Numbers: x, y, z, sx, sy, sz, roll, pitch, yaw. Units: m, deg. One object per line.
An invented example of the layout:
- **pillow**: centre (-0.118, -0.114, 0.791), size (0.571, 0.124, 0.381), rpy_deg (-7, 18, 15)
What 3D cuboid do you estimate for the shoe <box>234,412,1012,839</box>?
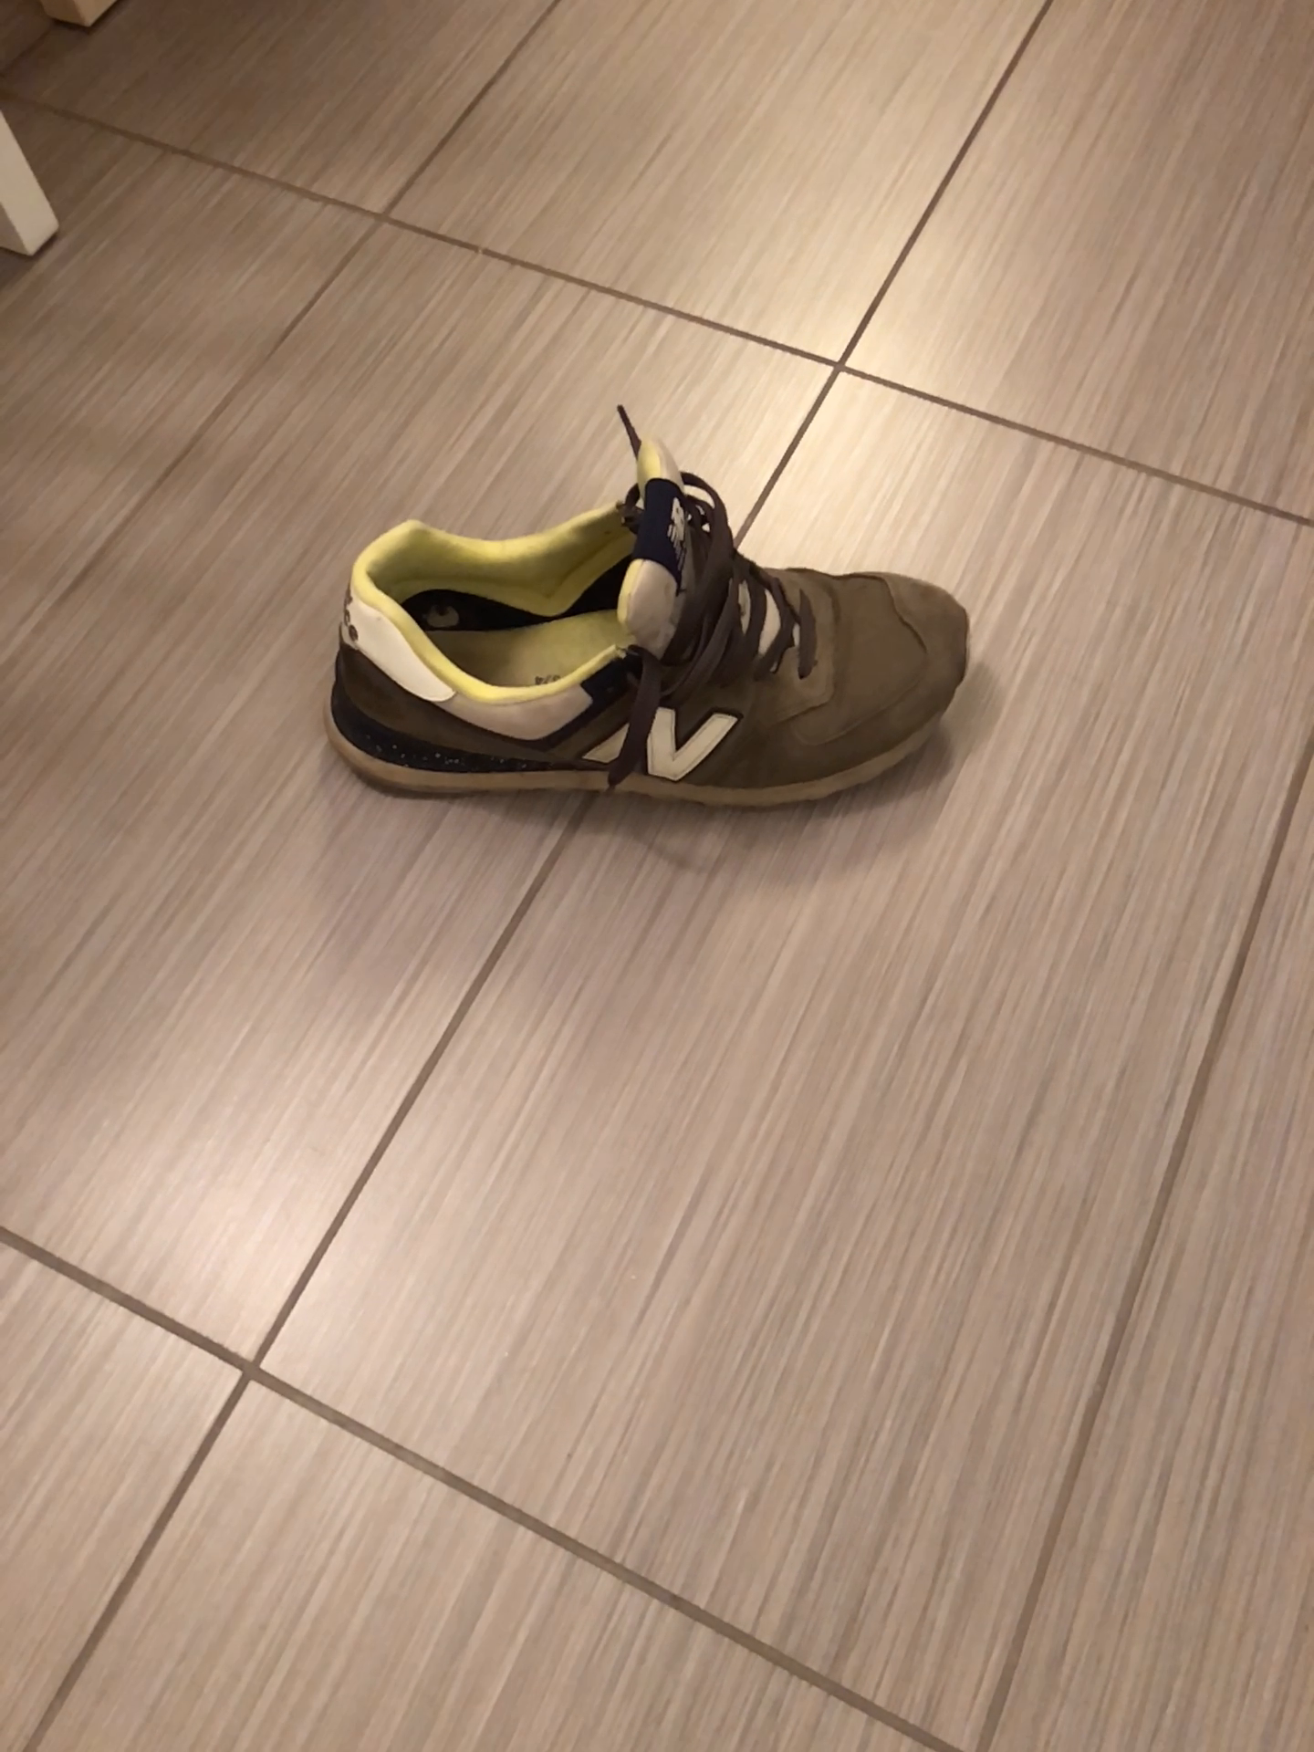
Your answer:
- **shoe**: centre (-0.008, -0.111, 0.649), size (0.310, 0.110, 0.130), rpy_deg (4, 63, 4)
